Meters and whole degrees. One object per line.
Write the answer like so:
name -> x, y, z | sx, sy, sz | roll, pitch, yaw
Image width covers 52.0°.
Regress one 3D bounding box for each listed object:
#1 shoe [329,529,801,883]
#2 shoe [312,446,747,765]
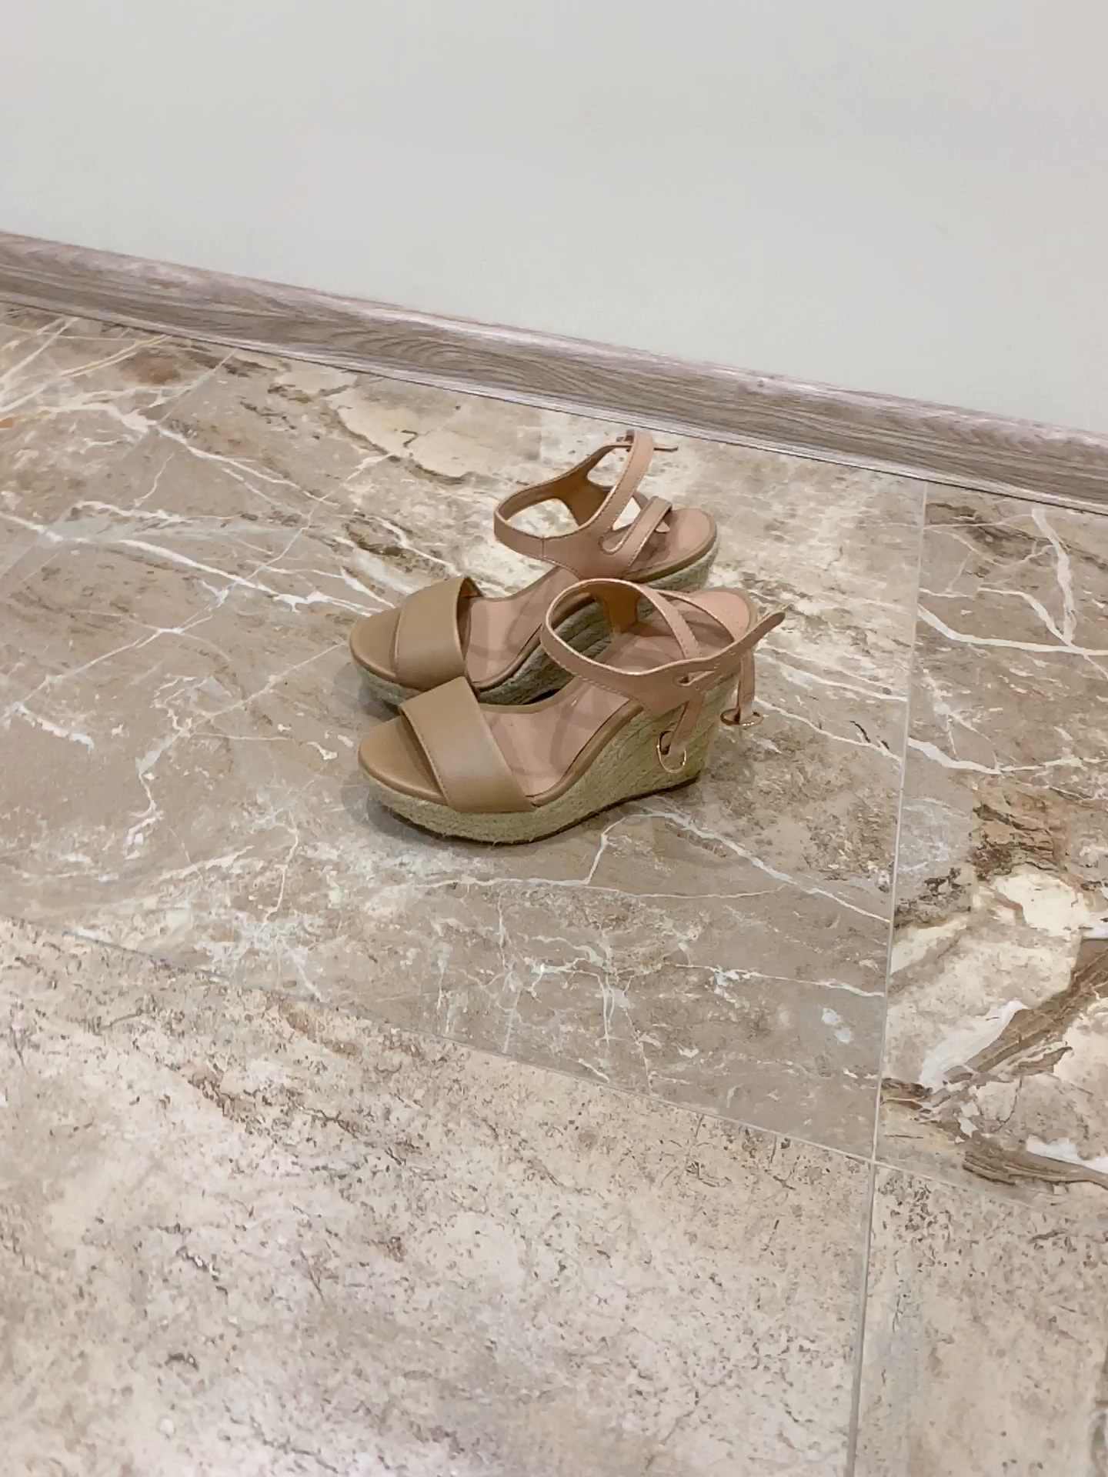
shoe -> 0.000, -0.018, 0.589 | 0.210, 0.129, 0.090 | -8, 47, -13
shoe -> -0.018, -0.073, 0.632 | 0.210, 0.149, 0.091 | -2, 46, -6
